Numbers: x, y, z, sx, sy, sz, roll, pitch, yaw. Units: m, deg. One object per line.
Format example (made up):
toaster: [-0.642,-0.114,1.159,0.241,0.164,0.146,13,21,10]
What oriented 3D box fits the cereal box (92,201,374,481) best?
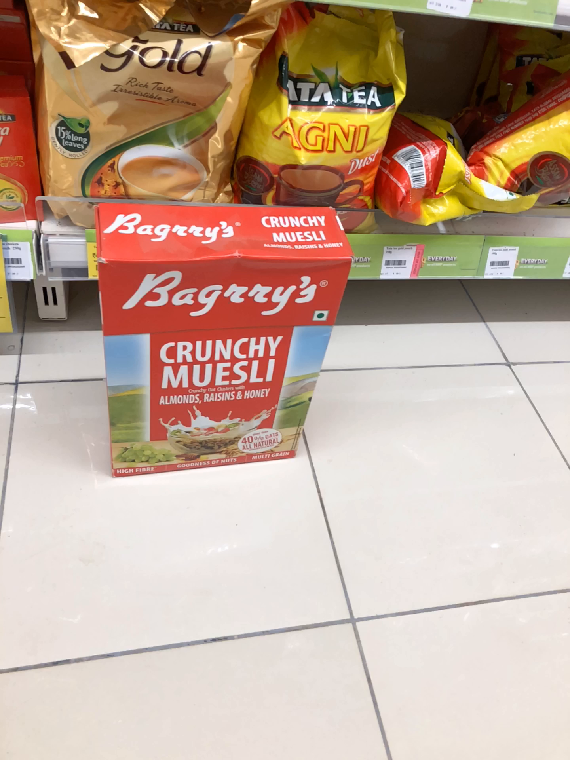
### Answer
cereal box: [-0.059,-0.023,0.562,0.200,0.268,0.070,-4,49,-16]
